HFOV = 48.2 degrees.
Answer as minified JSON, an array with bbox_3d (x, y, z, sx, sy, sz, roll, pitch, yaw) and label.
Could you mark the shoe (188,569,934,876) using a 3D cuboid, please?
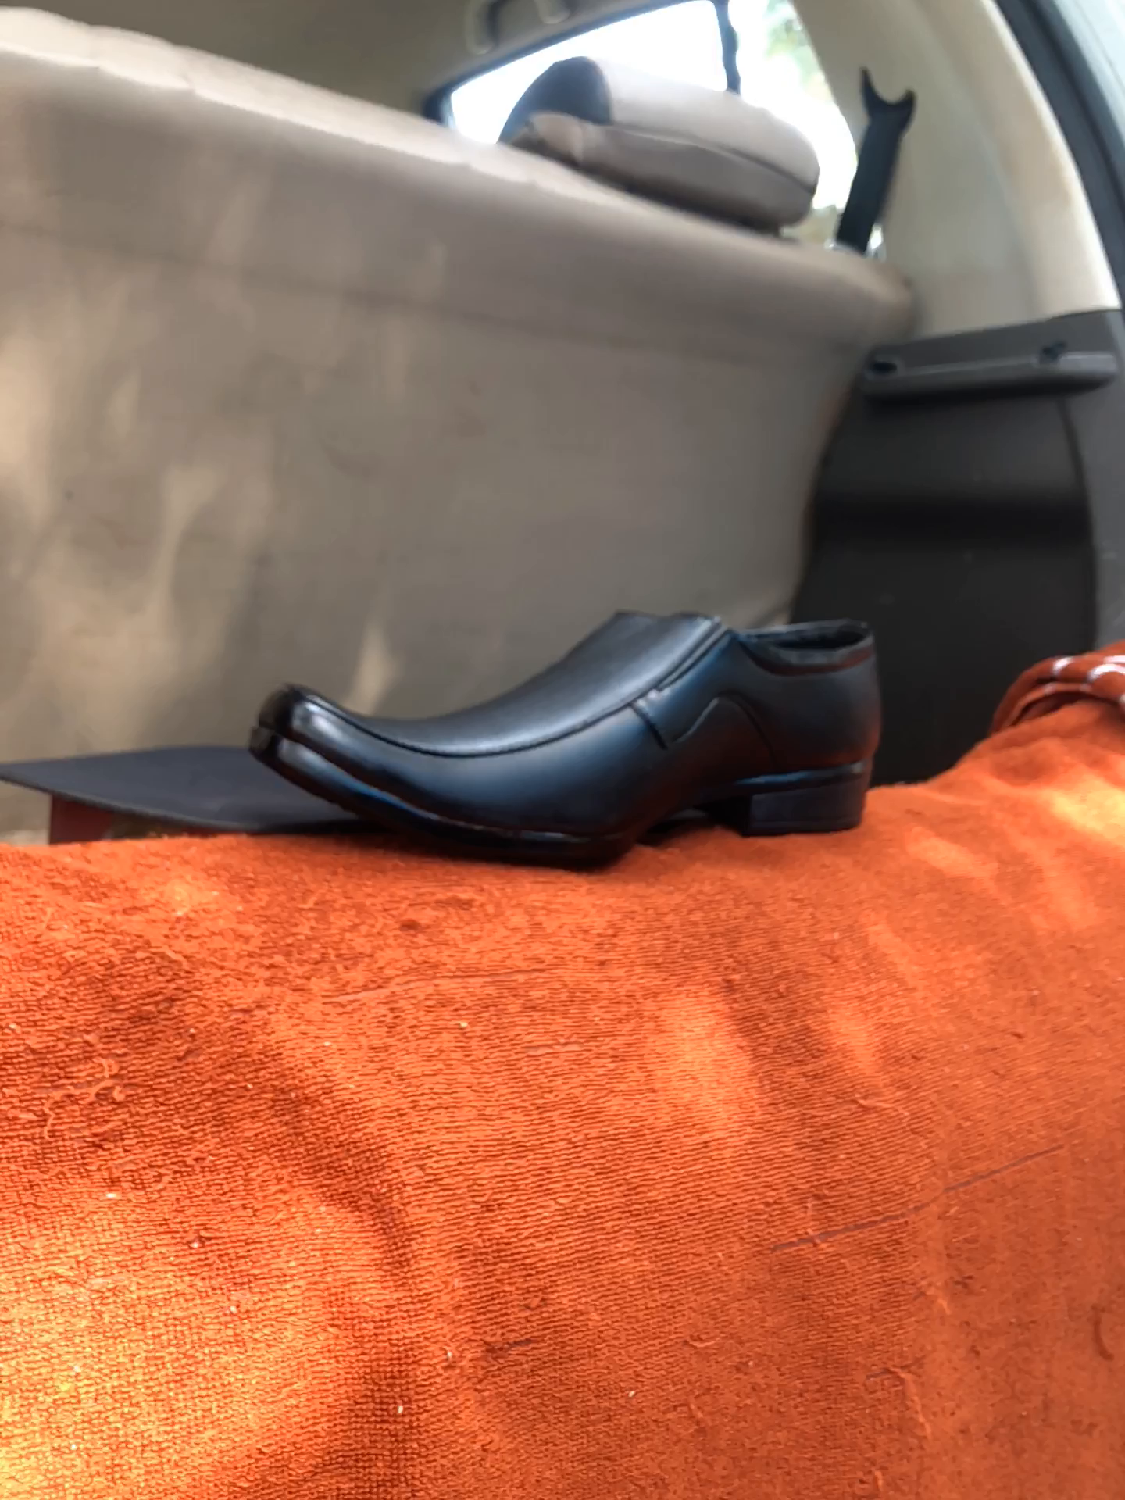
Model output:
[{"bbox_3d":[-0.006,-0.017,0.569,0.291,0.100,0.160,1,10,-25],"label":"shoe"}]
